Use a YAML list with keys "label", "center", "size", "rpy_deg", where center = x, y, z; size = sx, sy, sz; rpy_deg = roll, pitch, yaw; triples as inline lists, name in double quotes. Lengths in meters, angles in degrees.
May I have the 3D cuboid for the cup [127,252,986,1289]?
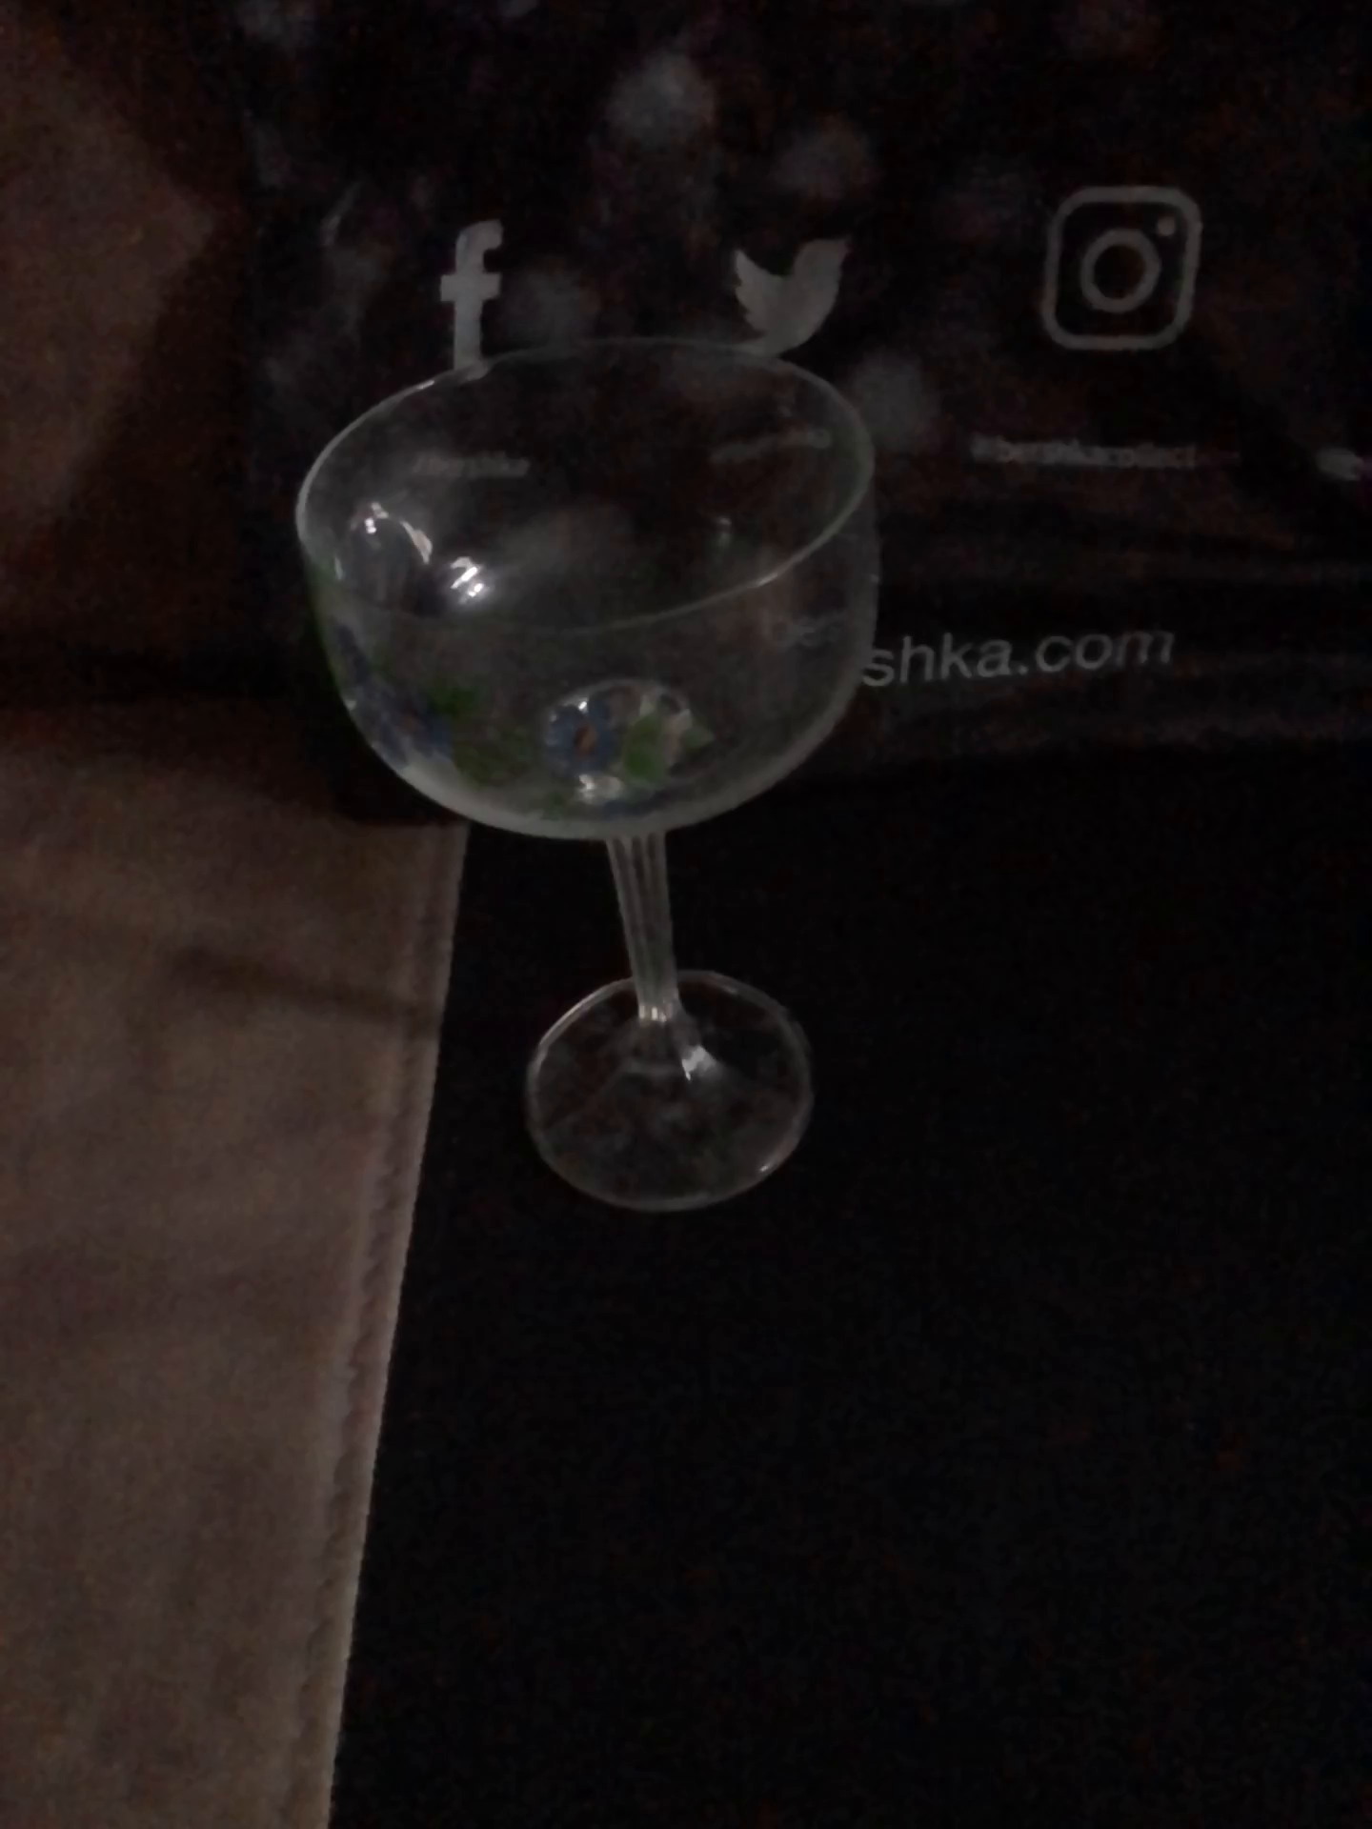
- label: "cup"
  center: [-0.014, -0.022, 0.278]
  size: [0.096, 0.147, 0.085]
  rpy_deg: [21, 53, 22]
